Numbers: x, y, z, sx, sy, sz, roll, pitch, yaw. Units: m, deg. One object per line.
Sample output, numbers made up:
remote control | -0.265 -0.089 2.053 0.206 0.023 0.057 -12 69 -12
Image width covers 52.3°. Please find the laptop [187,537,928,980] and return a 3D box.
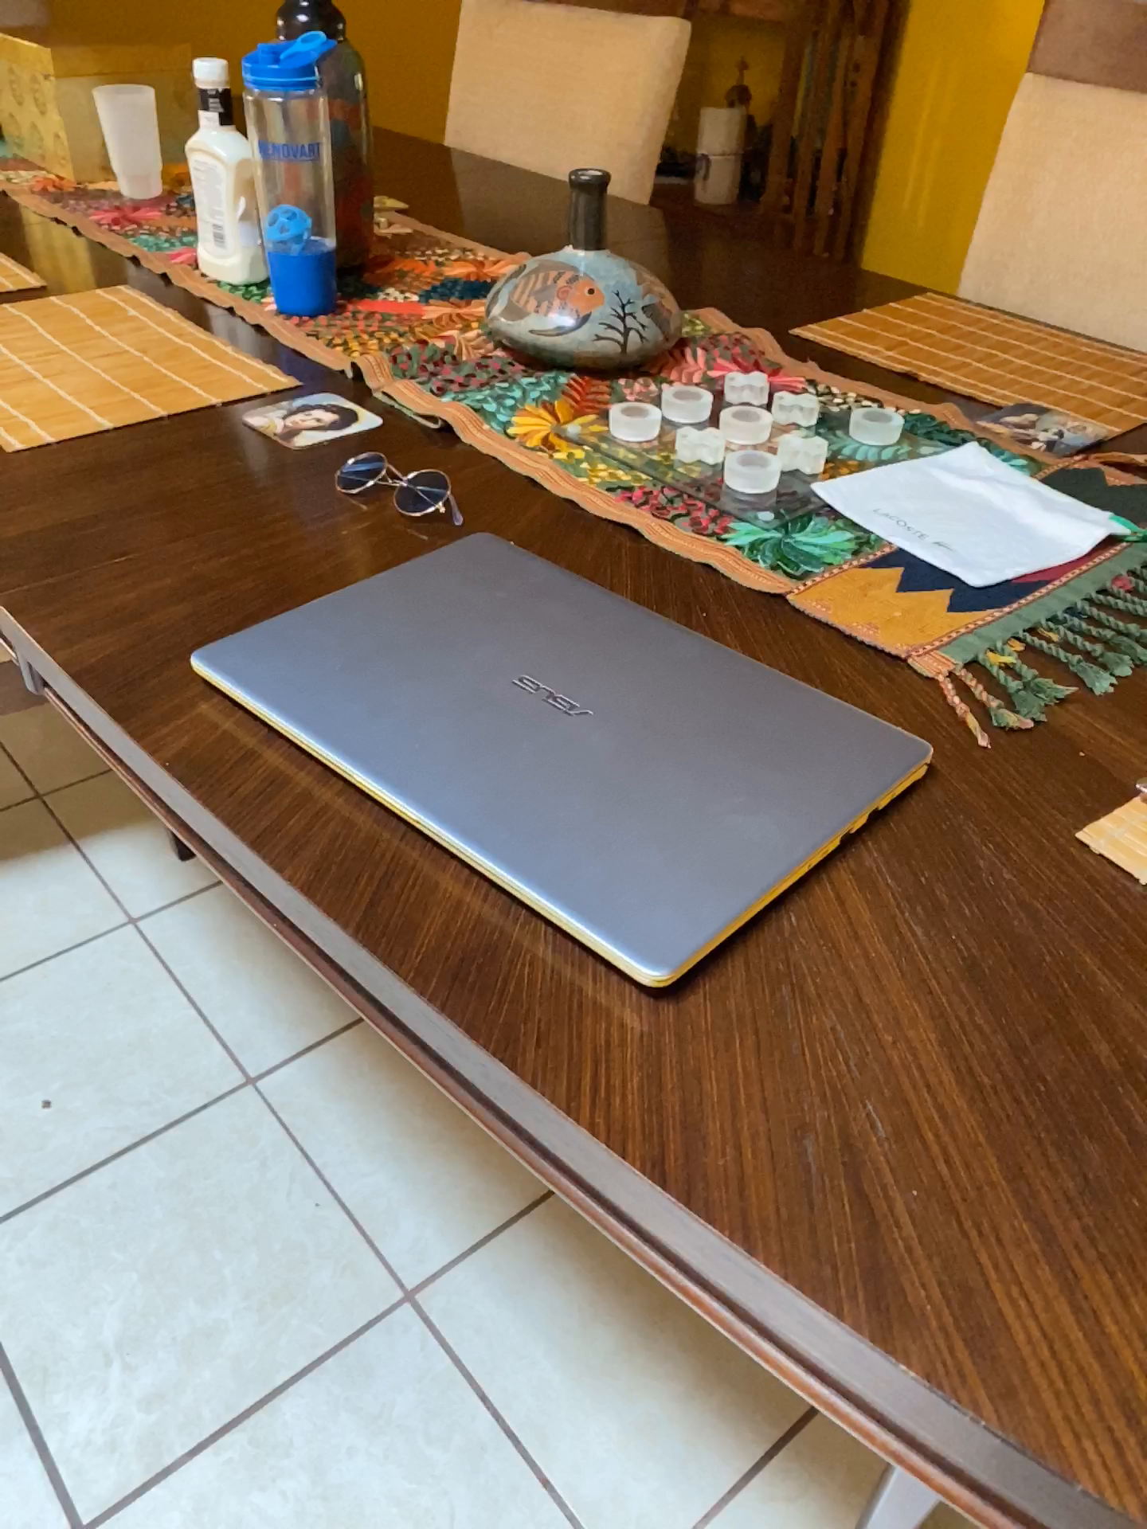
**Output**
laptop | -0.018 -0.036 0.714 0.383 0.001 0.247 31 45 31
